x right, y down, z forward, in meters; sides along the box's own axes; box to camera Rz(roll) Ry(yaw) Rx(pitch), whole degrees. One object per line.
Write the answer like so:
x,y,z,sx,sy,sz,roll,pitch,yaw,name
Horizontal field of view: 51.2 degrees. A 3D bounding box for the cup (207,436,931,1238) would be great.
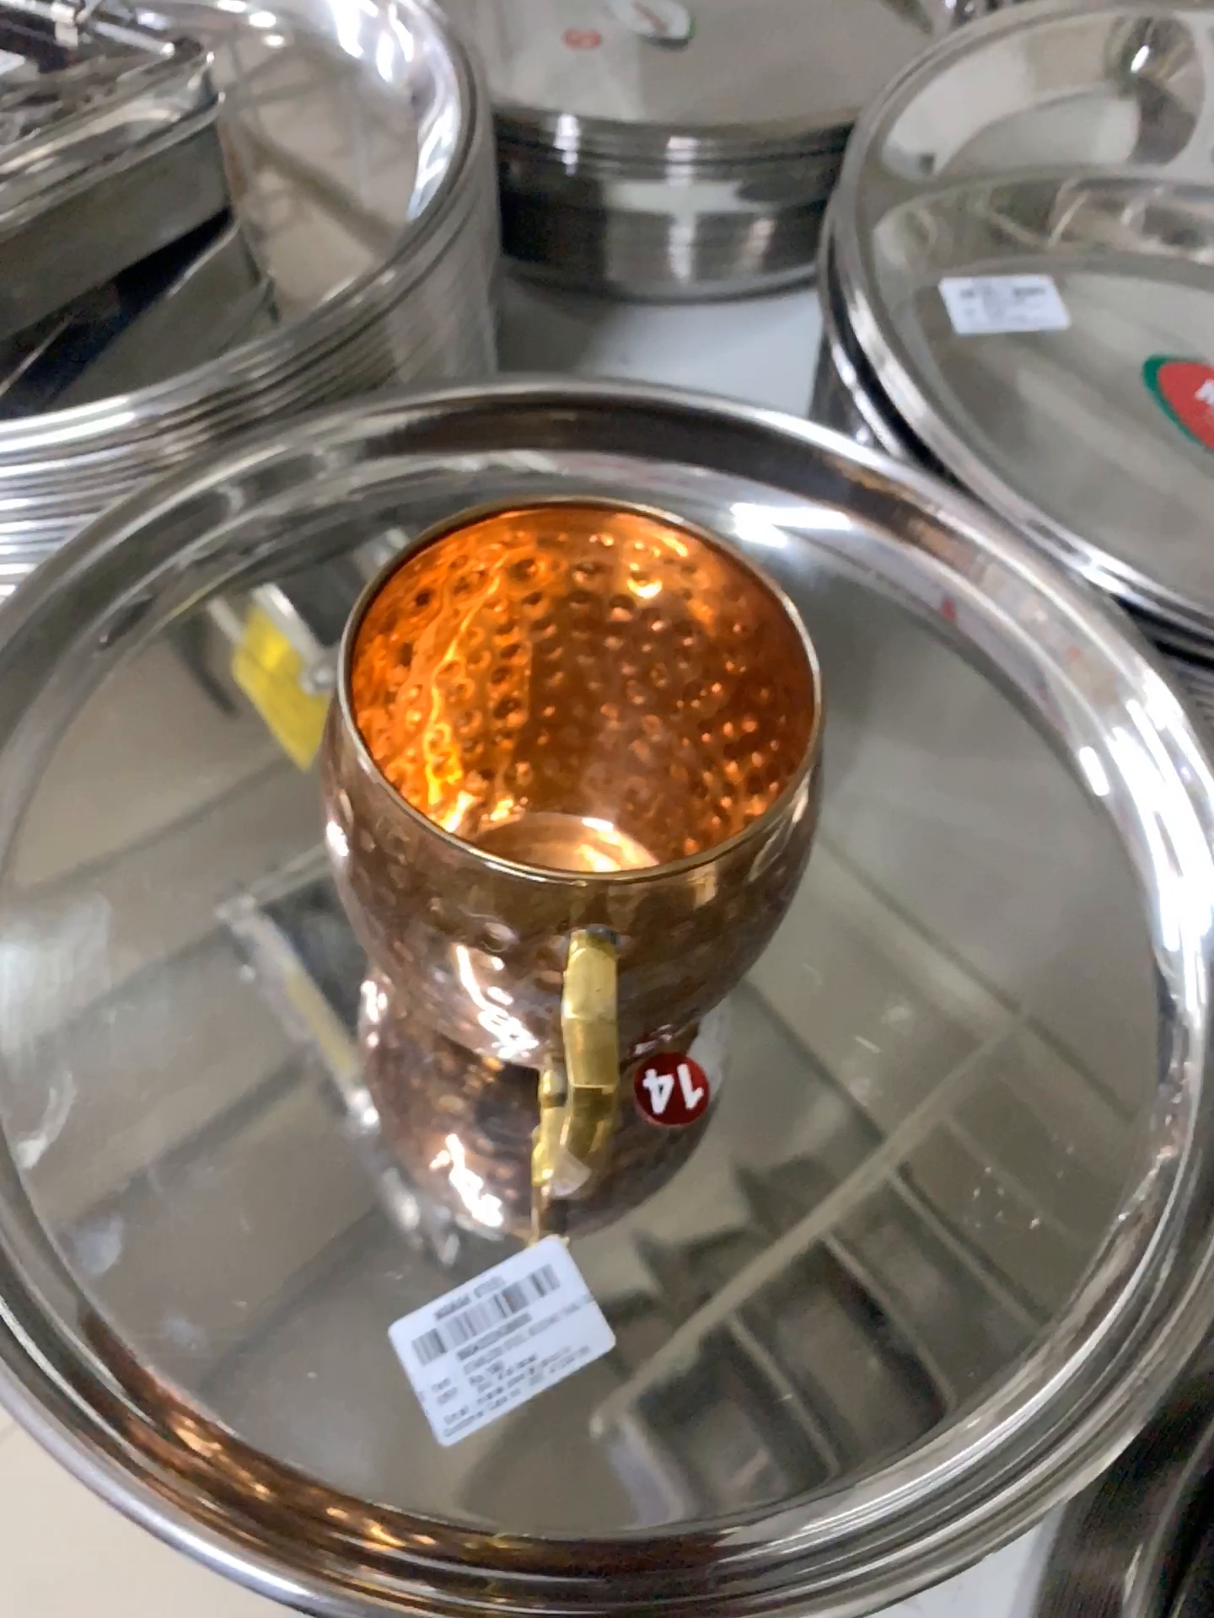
-0.005,0.008,0.225,0.090,0.090,0.110,1,58,-1,cup
